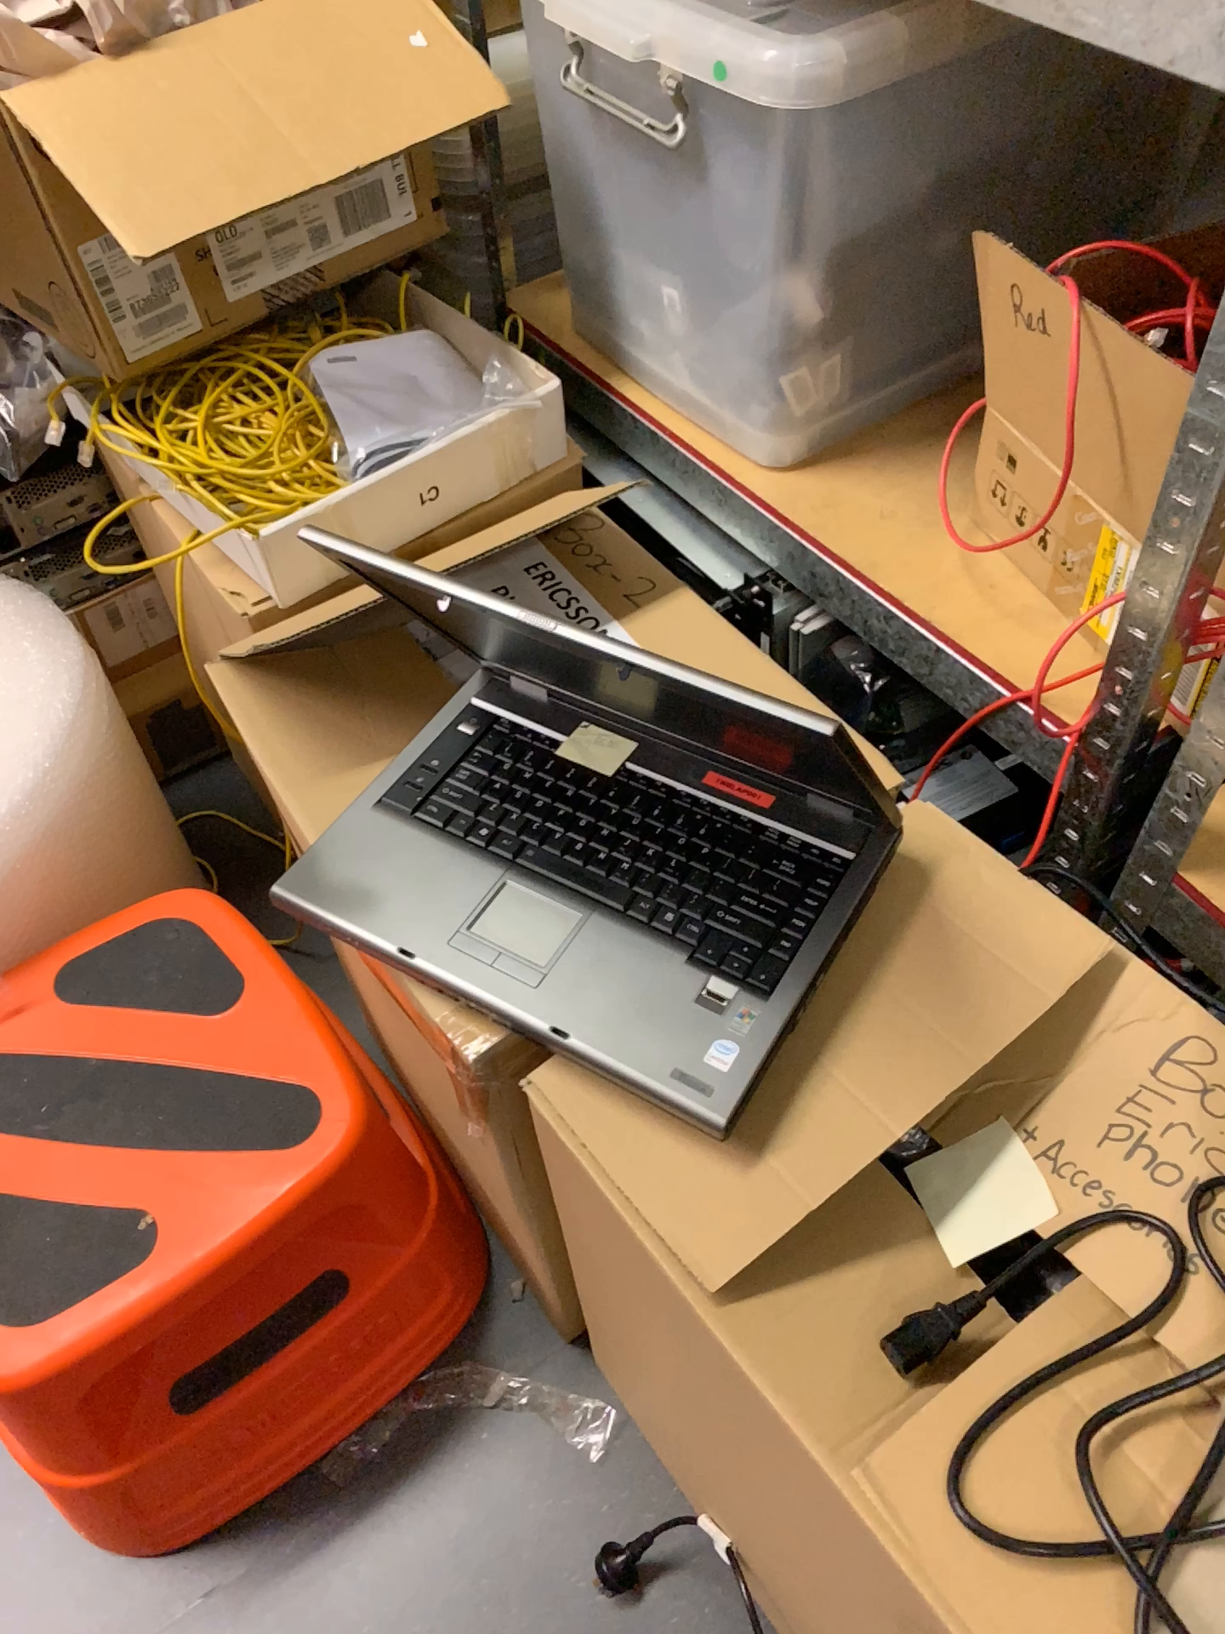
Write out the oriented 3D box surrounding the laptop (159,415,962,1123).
[{"bbox_3d":[-0.023,-0.045,0.779,0.361,0.238,0.262,23,54,23],"label":"laptop"}]
